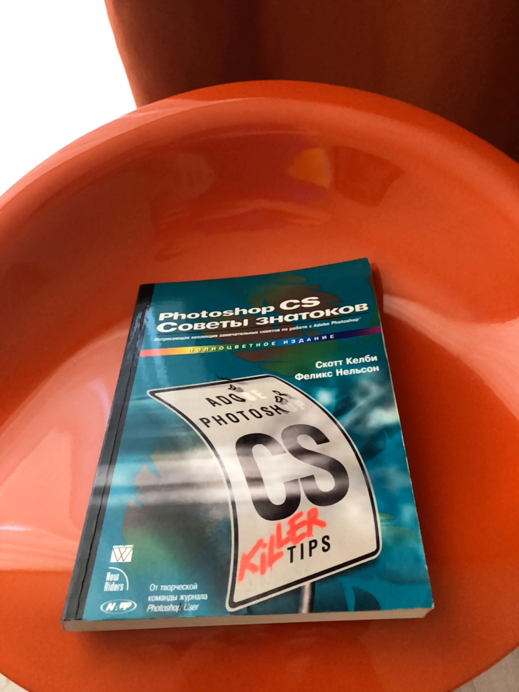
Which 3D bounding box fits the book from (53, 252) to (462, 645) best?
[{"bbox_3d":[-0.001,0.038,0.334,0.174,0.030,0.237,-6,45,6],"label":"book"}]
